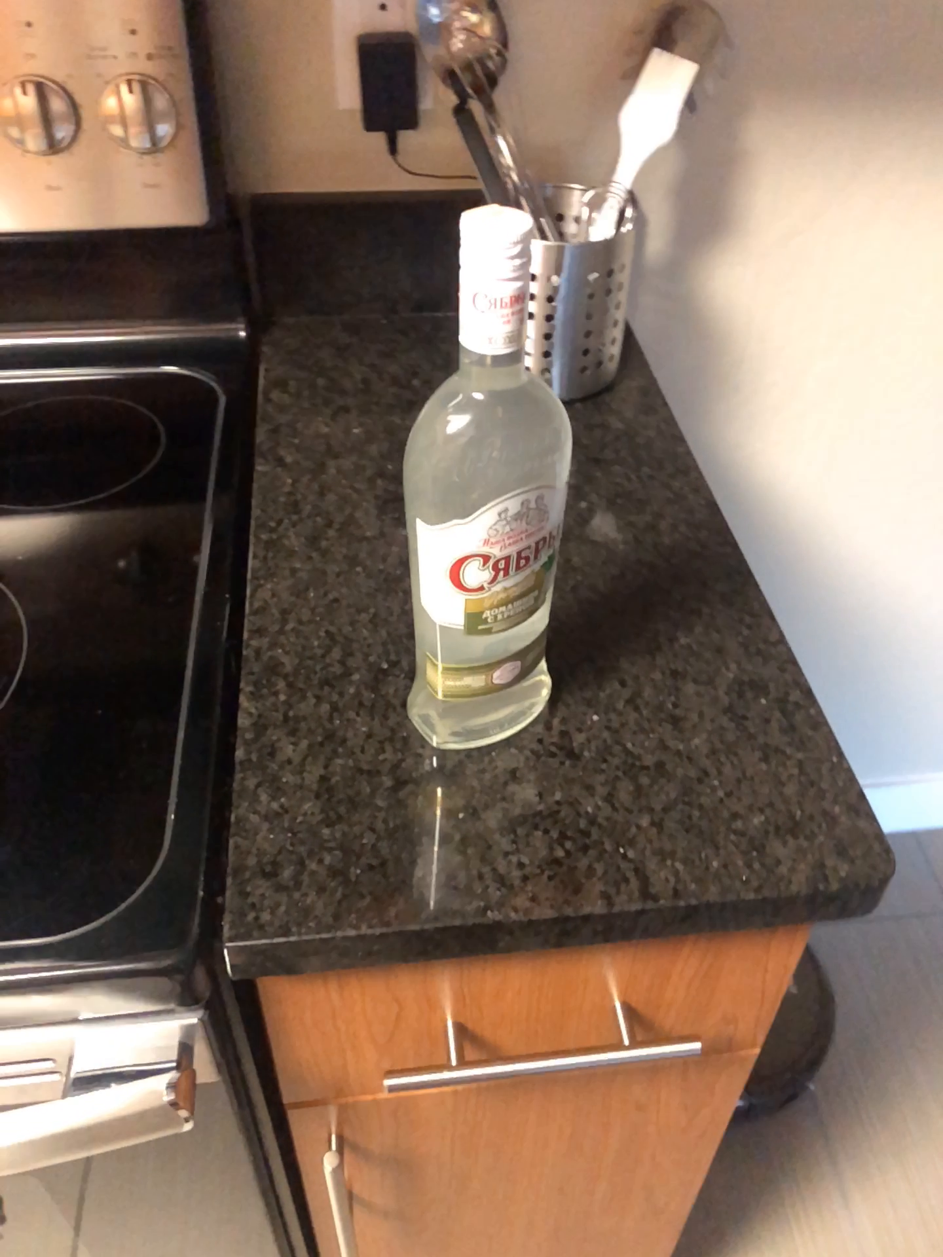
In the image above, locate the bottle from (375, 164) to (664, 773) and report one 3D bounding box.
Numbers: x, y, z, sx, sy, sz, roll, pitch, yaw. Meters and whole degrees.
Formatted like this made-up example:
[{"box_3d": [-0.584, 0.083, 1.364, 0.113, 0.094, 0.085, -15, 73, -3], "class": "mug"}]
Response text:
[{"box_3d": [0.014, -0.058, 0.478, 0.090, 0.269, 0.060, -18, 45, -21], "class": "bottle"}]
